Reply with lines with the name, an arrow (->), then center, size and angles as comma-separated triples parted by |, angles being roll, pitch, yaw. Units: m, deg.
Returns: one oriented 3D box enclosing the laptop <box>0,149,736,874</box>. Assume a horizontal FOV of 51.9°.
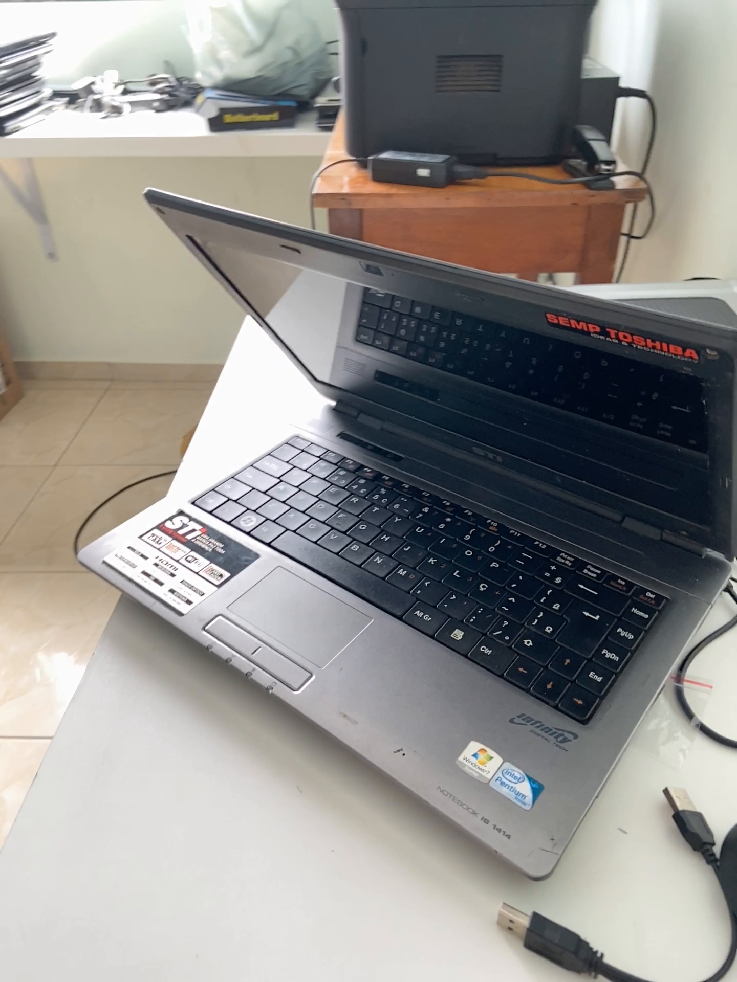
laptop -> 0.015, -0.039, 0.429 | 0.342, 0.200, 0.242 | 25, 44, 31
